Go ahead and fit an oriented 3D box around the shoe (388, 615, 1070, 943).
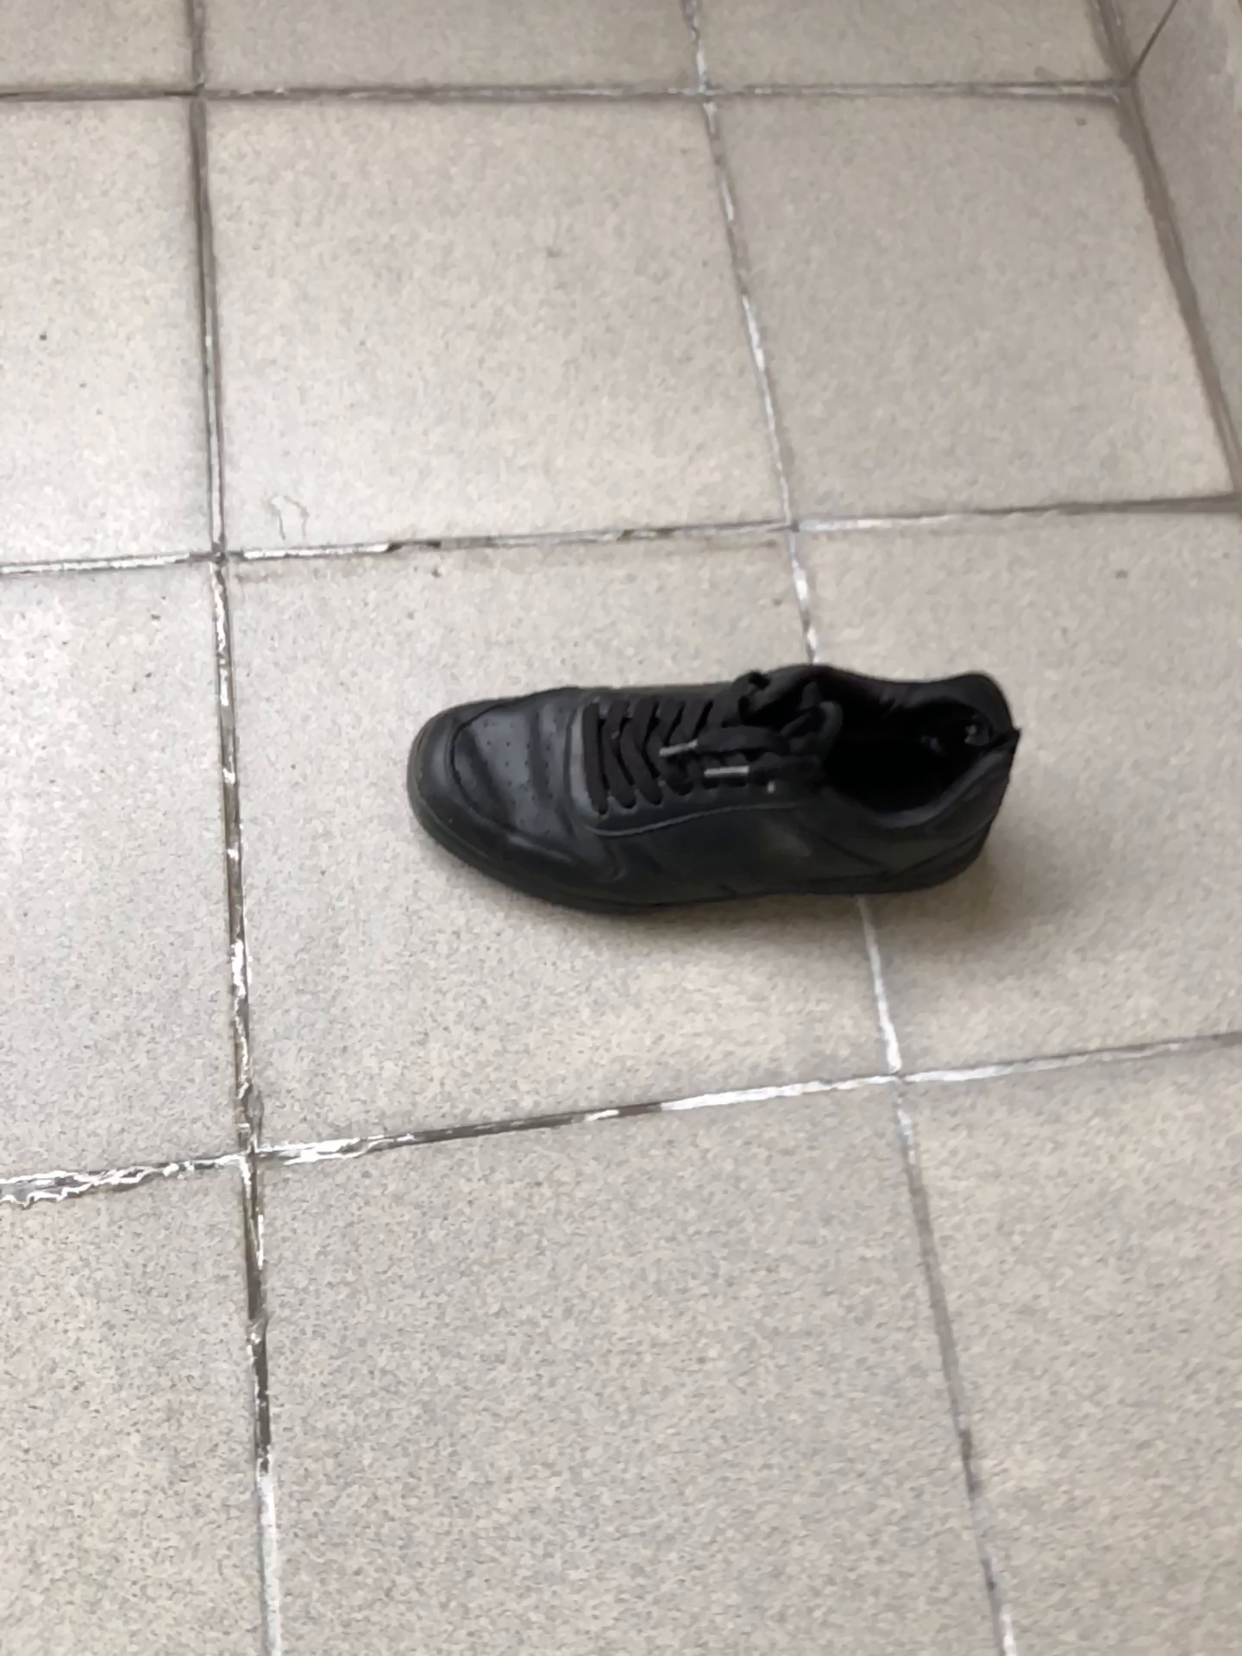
[{"bbox_3d":[0.045,-0.018,0.639,0.290,0.100,0.110,3,73,-5],"label":"shoe"}]
